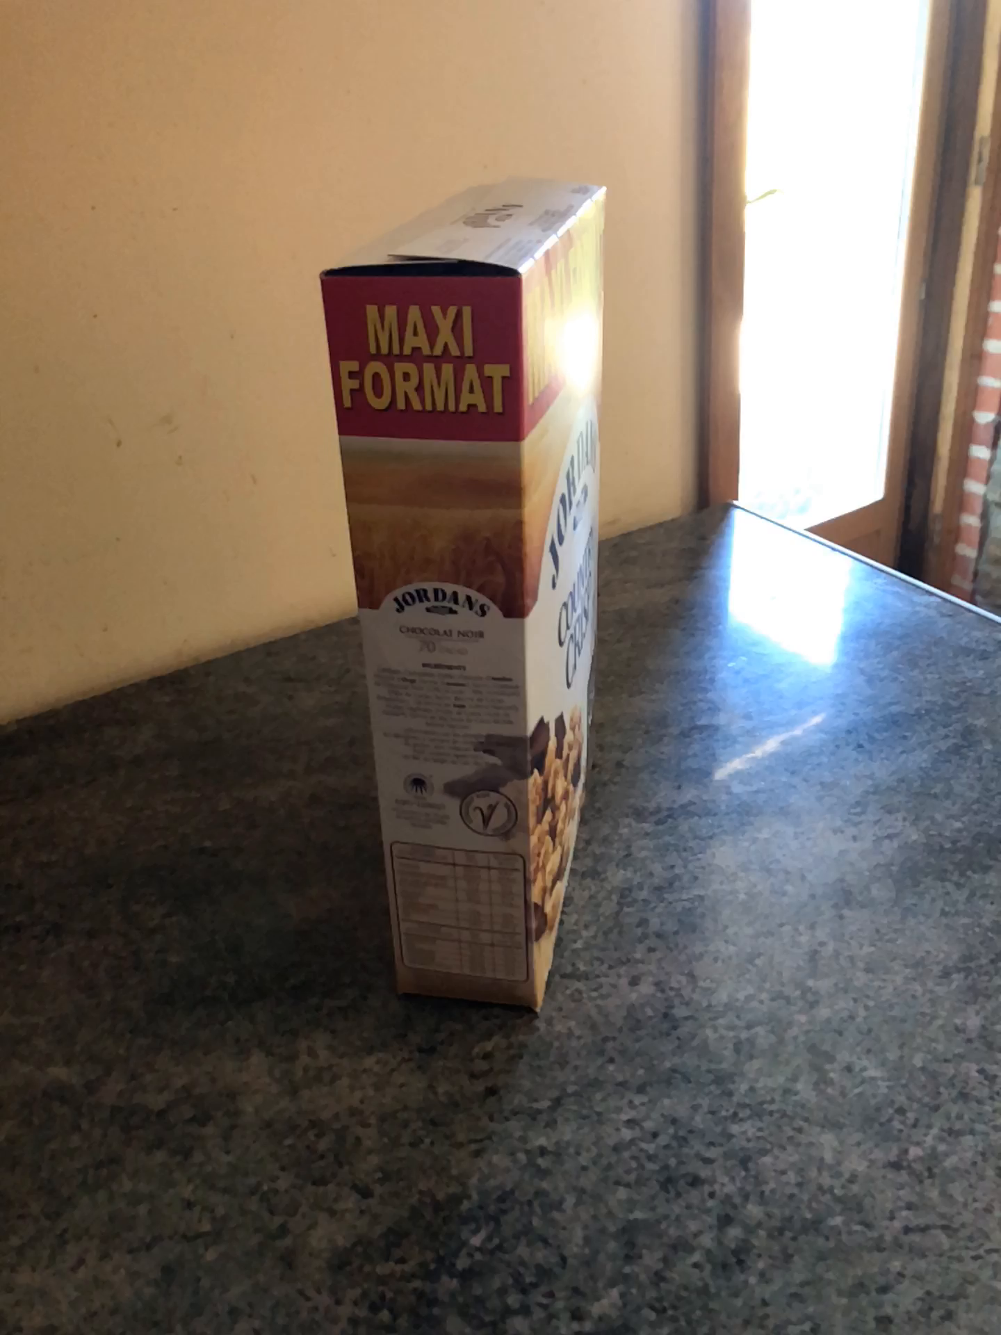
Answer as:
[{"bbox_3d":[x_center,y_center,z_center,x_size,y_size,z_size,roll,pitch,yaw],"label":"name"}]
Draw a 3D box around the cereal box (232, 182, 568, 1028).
[{"bbox_3d":[-0.021,-0.034,0.471,0.070,0.298,0.201,4,30,10],"label":"cereal box"}]
